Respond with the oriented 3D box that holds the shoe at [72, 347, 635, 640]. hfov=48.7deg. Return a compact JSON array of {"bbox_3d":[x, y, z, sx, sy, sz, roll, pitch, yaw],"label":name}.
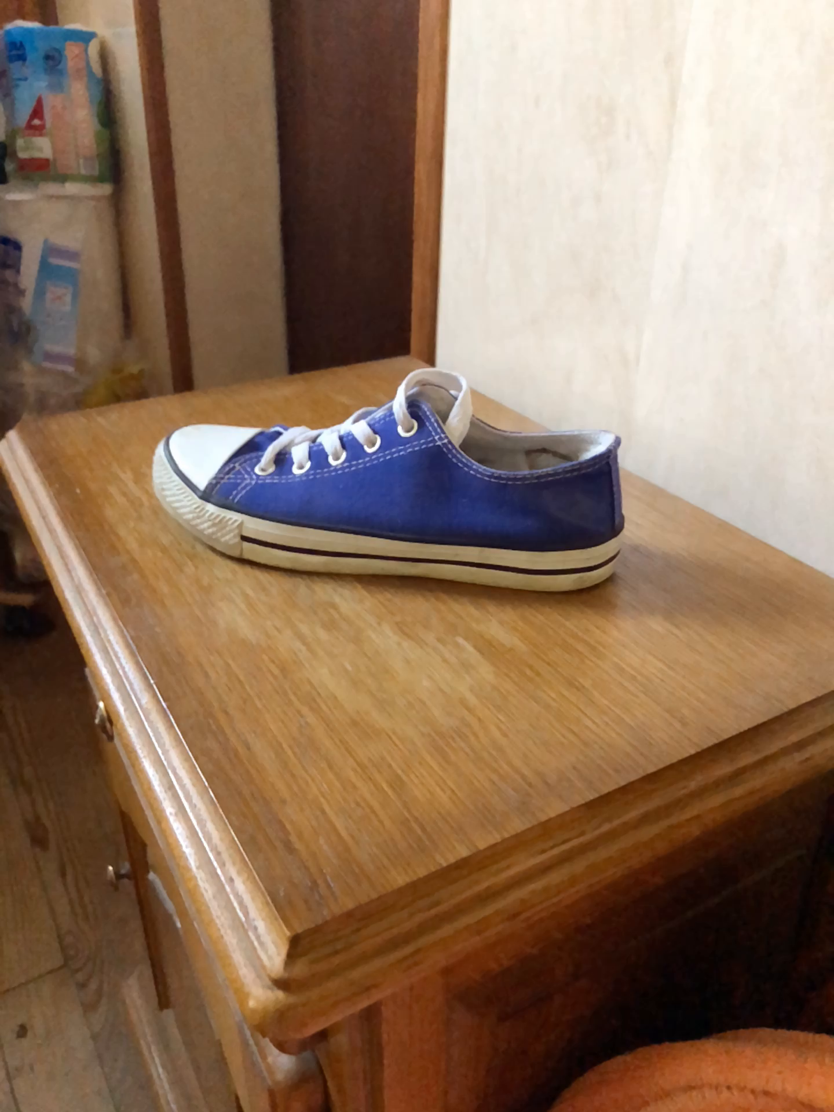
[{"bbox_3d":[-0.028,-0.039,0.472,0.260,0.089,0.091,8,30,11],"label":"shoe"}]
